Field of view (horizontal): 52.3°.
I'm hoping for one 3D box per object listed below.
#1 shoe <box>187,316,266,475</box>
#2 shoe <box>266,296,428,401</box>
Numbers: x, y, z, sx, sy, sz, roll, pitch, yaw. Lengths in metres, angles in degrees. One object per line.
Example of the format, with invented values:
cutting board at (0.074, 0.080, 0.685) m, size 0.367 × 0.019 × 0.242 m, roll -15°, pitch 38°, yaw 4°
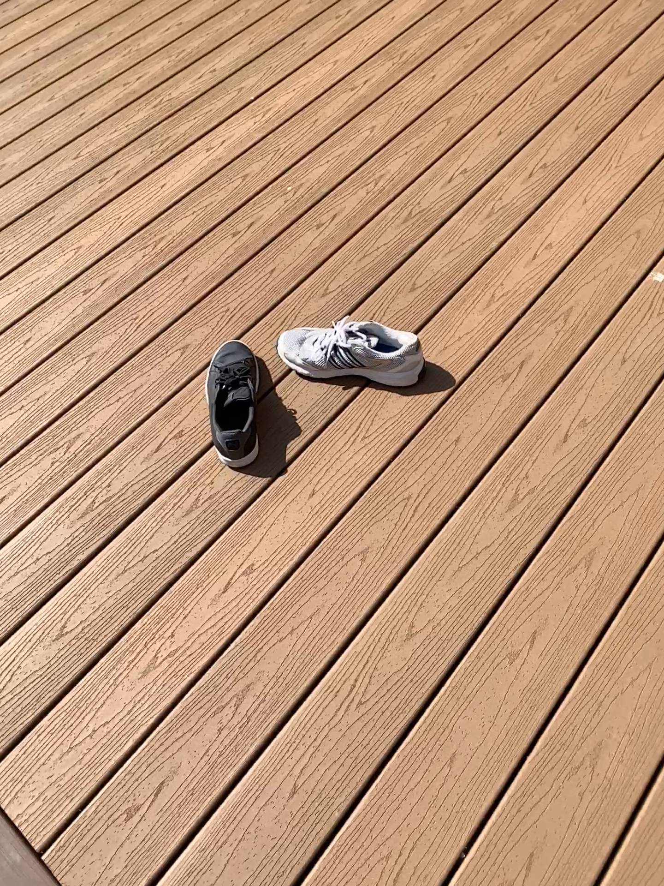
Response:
shoe at (-0.184, -0.087, 1.193) m, size 0.110 × 0.100 × 0.261 m, roll -7°, pitch 57°, yaw 1°
shoe at (0.031, -0.174, 1.244) m, size 0.270 × 0.120 × 0.110 m, roll 8°, pitch 59°, yaw 11°
